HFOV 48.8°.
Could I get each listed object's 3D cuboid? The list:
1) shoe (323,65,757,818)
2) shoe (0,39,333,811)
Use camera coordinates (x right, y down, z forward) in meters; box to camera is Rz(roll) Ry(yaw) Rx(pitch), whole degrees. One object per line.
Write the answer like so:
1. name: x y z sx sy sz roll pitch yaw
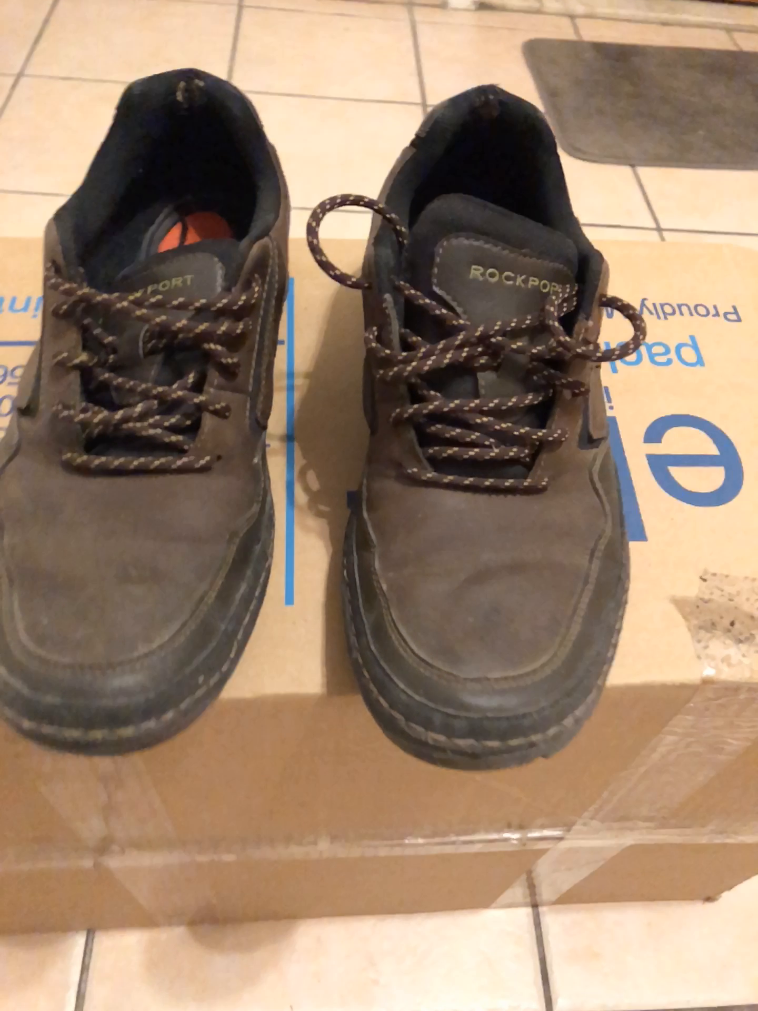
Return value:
1. shoe: 0.046 -0.046 0.330 0.110 0.109 0.292 5 51 -2
2. shoe: -0.085 -0.049 0.314 0.110 0.109 0.282 5 52 -2
